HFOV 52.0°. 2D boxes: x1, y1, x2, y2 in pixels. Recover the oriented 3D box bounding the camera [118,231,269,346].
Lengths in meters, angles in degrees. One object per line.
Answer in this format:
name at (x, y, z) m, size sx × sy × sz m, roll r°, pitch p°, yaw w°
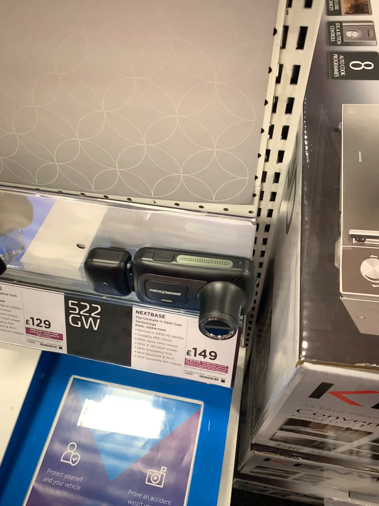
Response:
camera at (0.006, 0.026, 0.297) m, size 0.100 × 0.050 × 0.060 m, roll 5°, pitch 52°, yaw 8°
